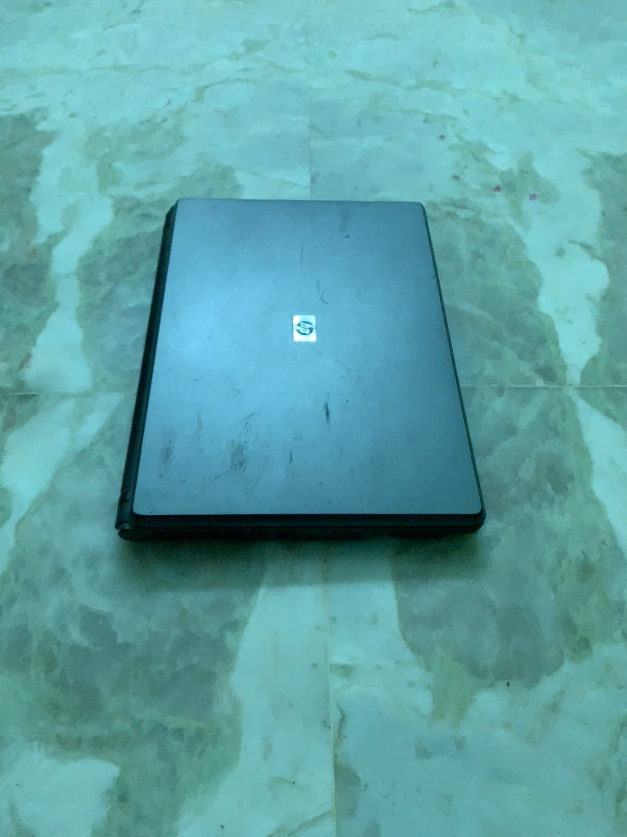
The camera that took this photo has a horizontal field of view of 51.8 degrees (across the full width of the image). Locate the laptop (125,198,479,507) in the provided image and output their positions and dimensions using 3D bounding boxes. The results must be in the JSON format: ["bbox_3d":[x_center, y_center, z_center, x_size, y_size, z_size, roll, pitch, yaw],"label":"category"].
[{"bbox_3d":[-0.012,-0.073,0.501,0.226,0.001,0.311,-1,55,-1],"label":"laptop"}]
